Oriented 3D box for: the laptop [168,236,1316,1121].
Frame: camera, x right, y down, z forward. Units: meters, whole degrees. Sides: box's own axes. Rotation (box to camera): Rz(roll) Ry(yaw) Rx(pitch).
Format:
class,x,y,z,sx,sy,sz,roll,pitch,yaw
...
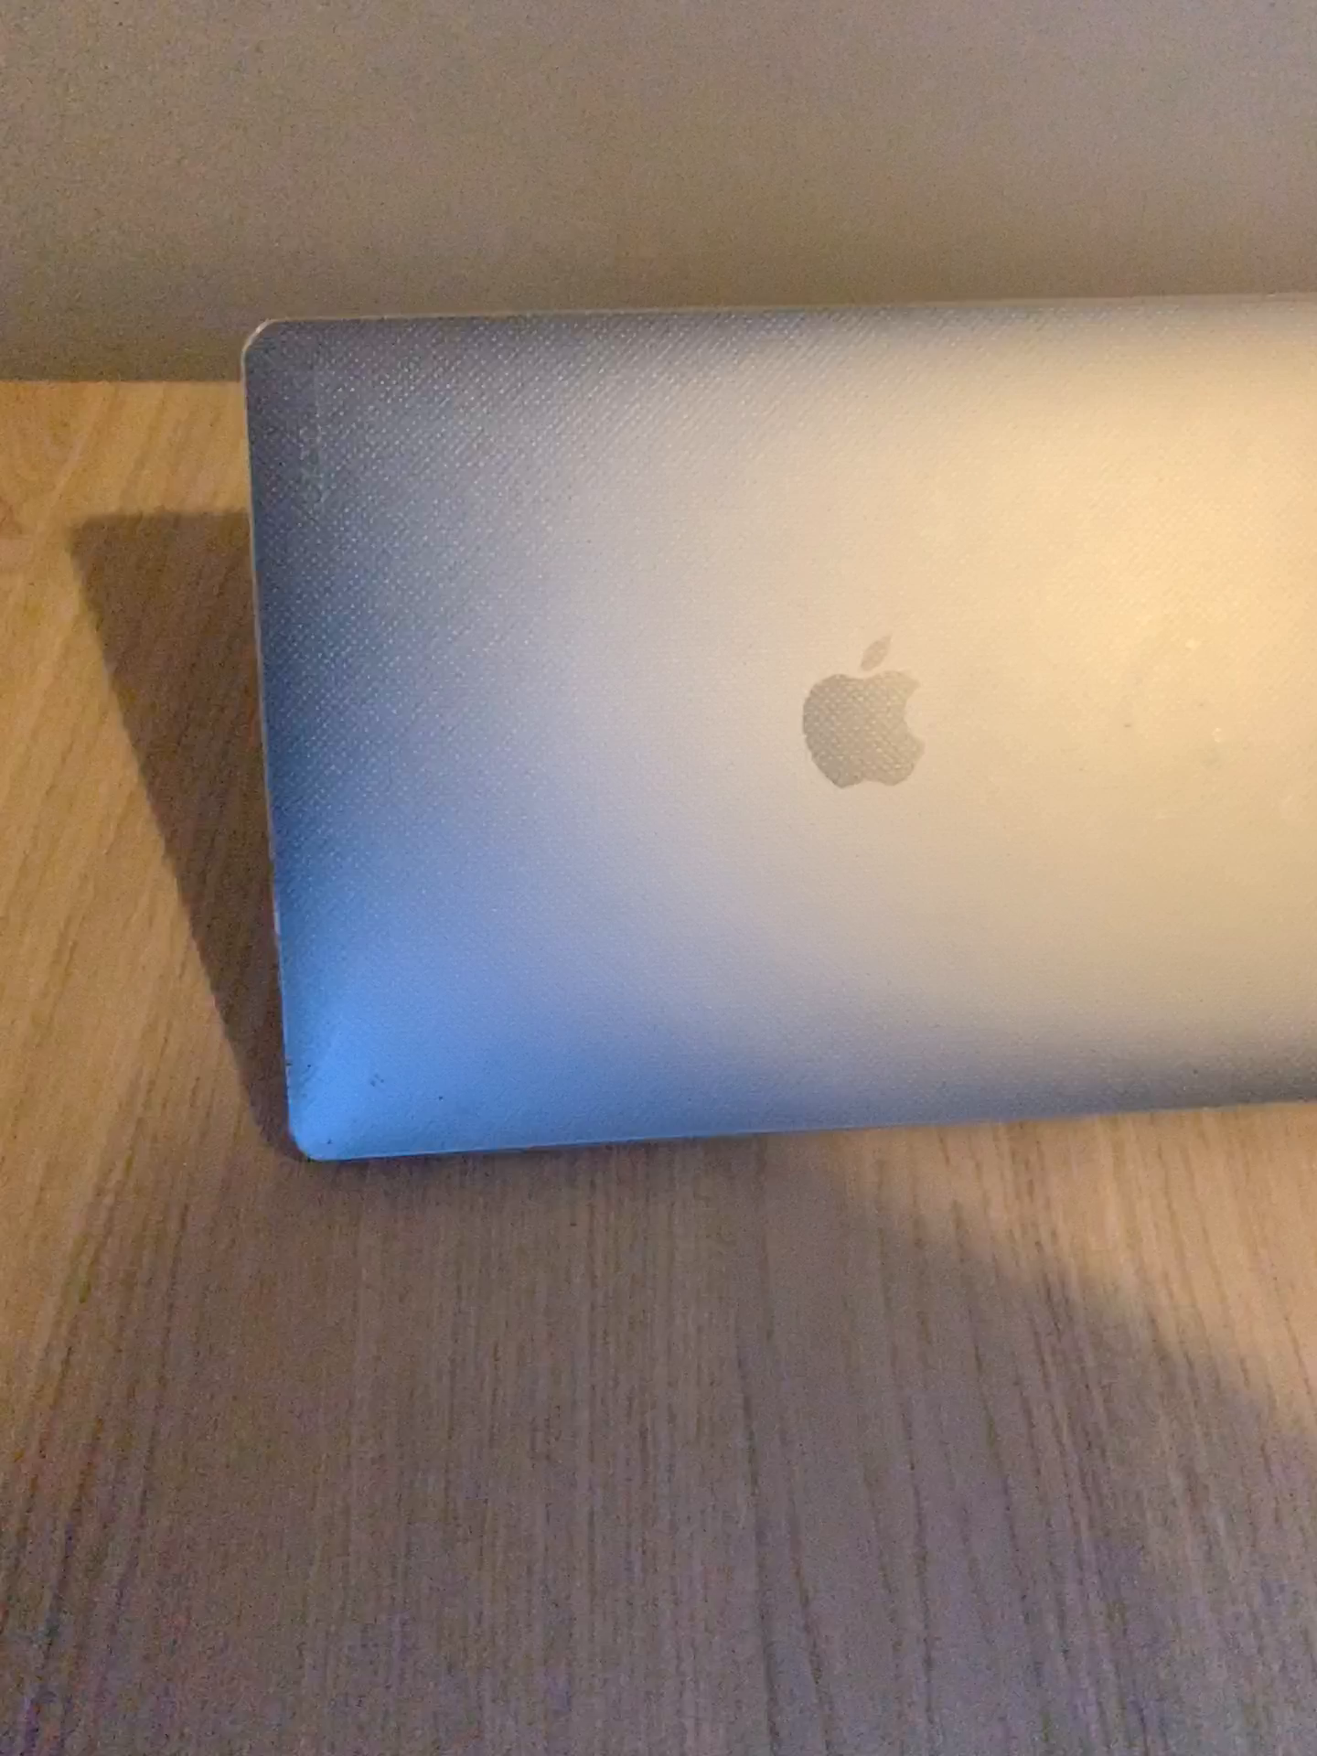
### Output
class,x,y,z,sx,sy,sz,roll,pitch,yaw
laptop,0.051,-0.063,0.381,0.309,0.127,0.207,-4,52,-3
